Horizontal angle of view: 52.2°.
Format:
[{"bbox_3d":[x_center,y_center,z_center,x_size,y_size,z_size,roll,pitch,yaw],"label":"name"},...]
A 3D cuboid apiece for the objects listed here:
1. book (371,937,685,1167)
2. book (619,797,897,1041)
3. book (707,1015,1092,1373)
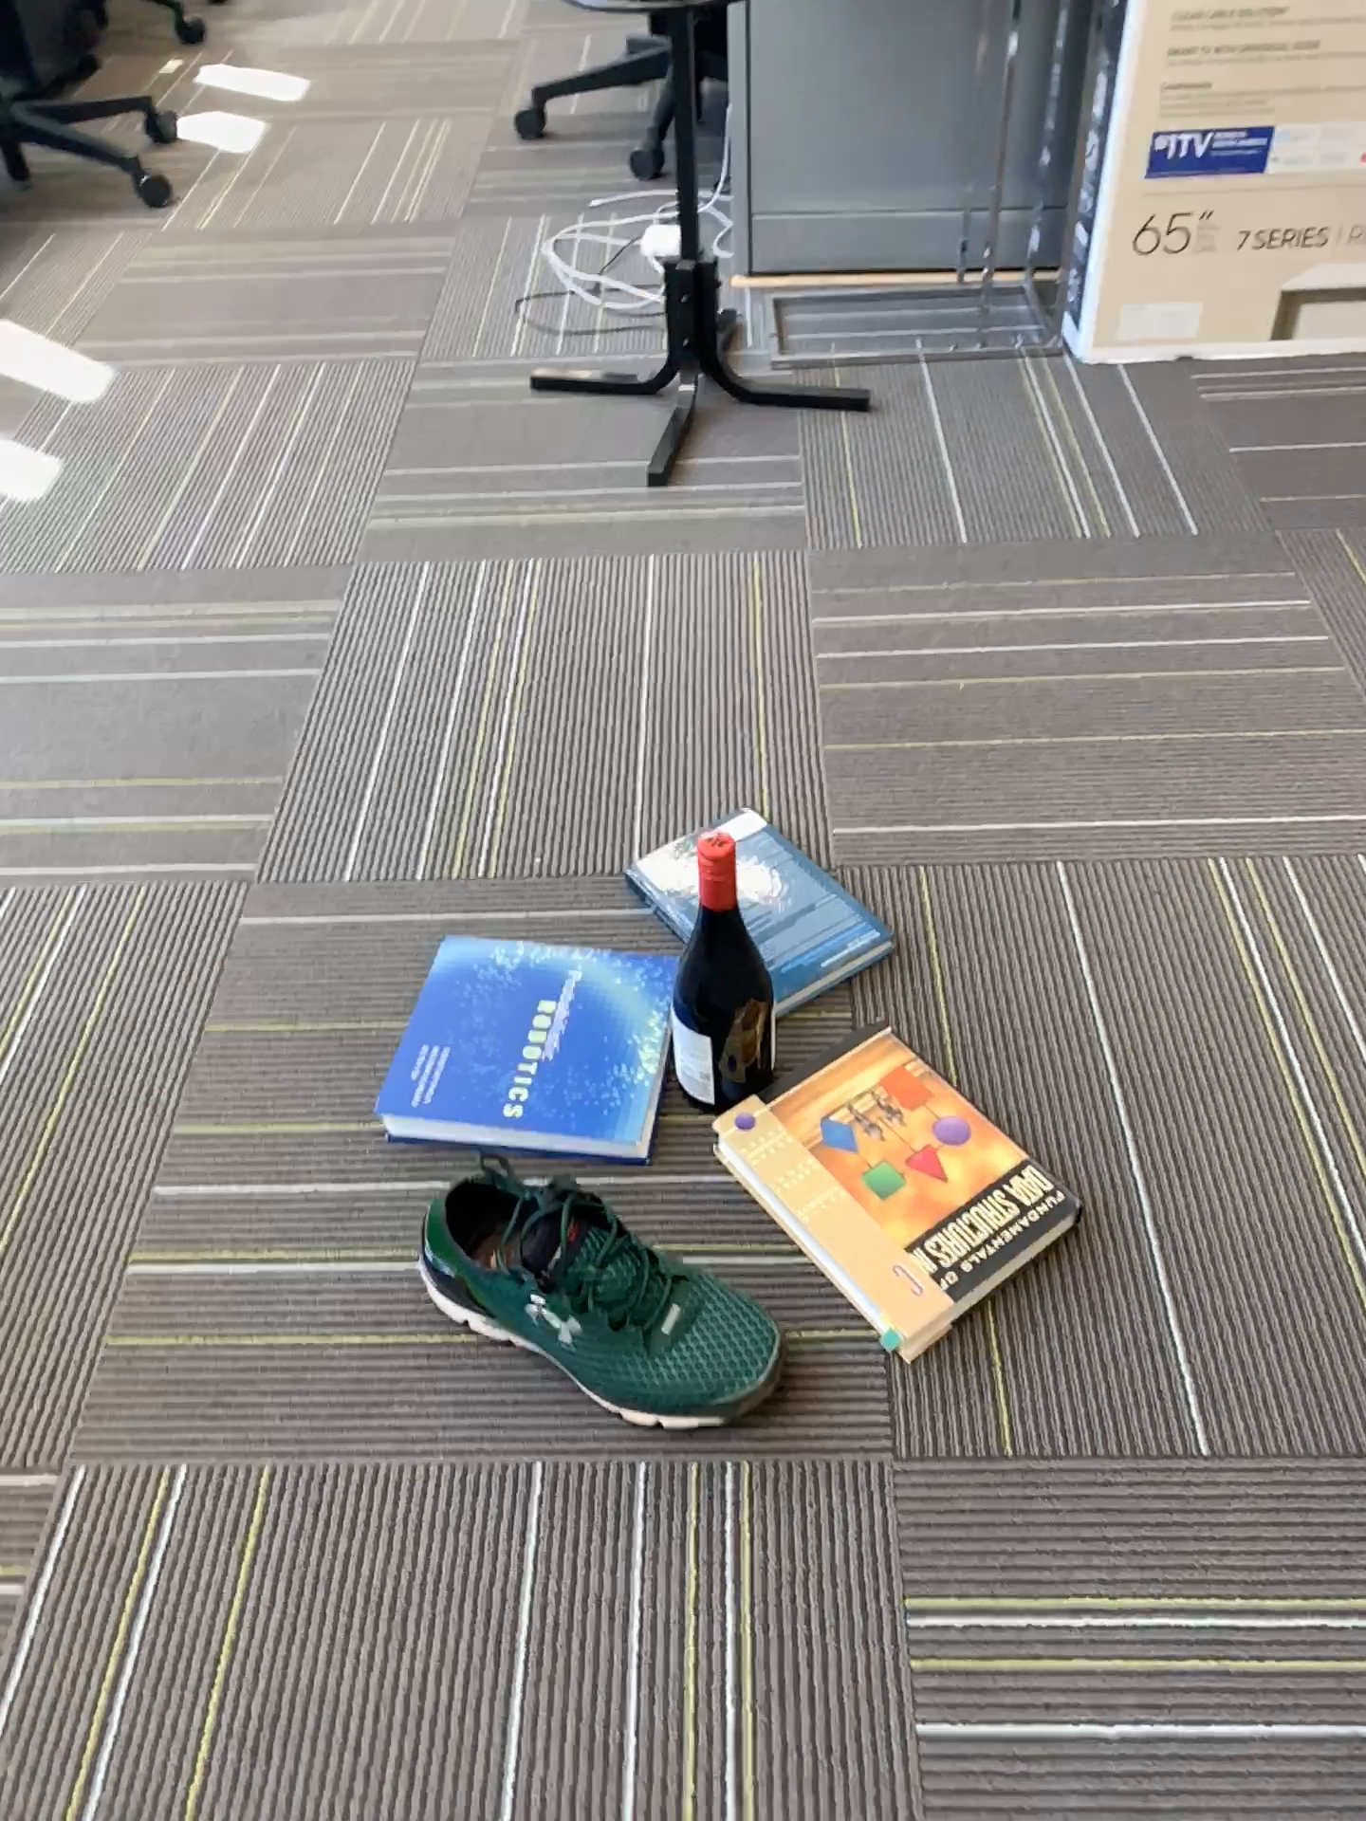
[{"bbox_3d":[-0.126,0.116,1.199,0.230,0.041,0.194,4,47,7],"label":"book"},{"bbox_3d":[0.067,0.001,1.298,0.156,0.034,0.221,-30,51,-18],"label":"book"},{"bbox_3d":[0.163,0.210,1.090,0.188,0.041,0.231,-29,51,-22],"label":"book"}]
